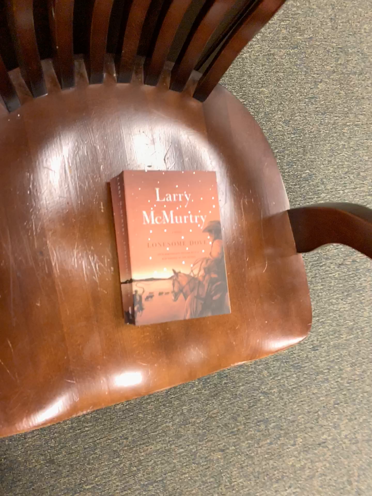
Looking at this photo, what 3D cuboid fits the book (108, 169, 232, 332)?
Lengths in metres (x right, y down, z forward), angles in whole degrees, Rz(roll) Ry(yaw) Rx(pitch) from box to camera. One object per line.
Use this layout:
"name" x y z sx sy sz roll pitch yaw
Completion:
"book" -0.024 0.000 0.514 0.140 0.060 0.200 -4 86 -19
